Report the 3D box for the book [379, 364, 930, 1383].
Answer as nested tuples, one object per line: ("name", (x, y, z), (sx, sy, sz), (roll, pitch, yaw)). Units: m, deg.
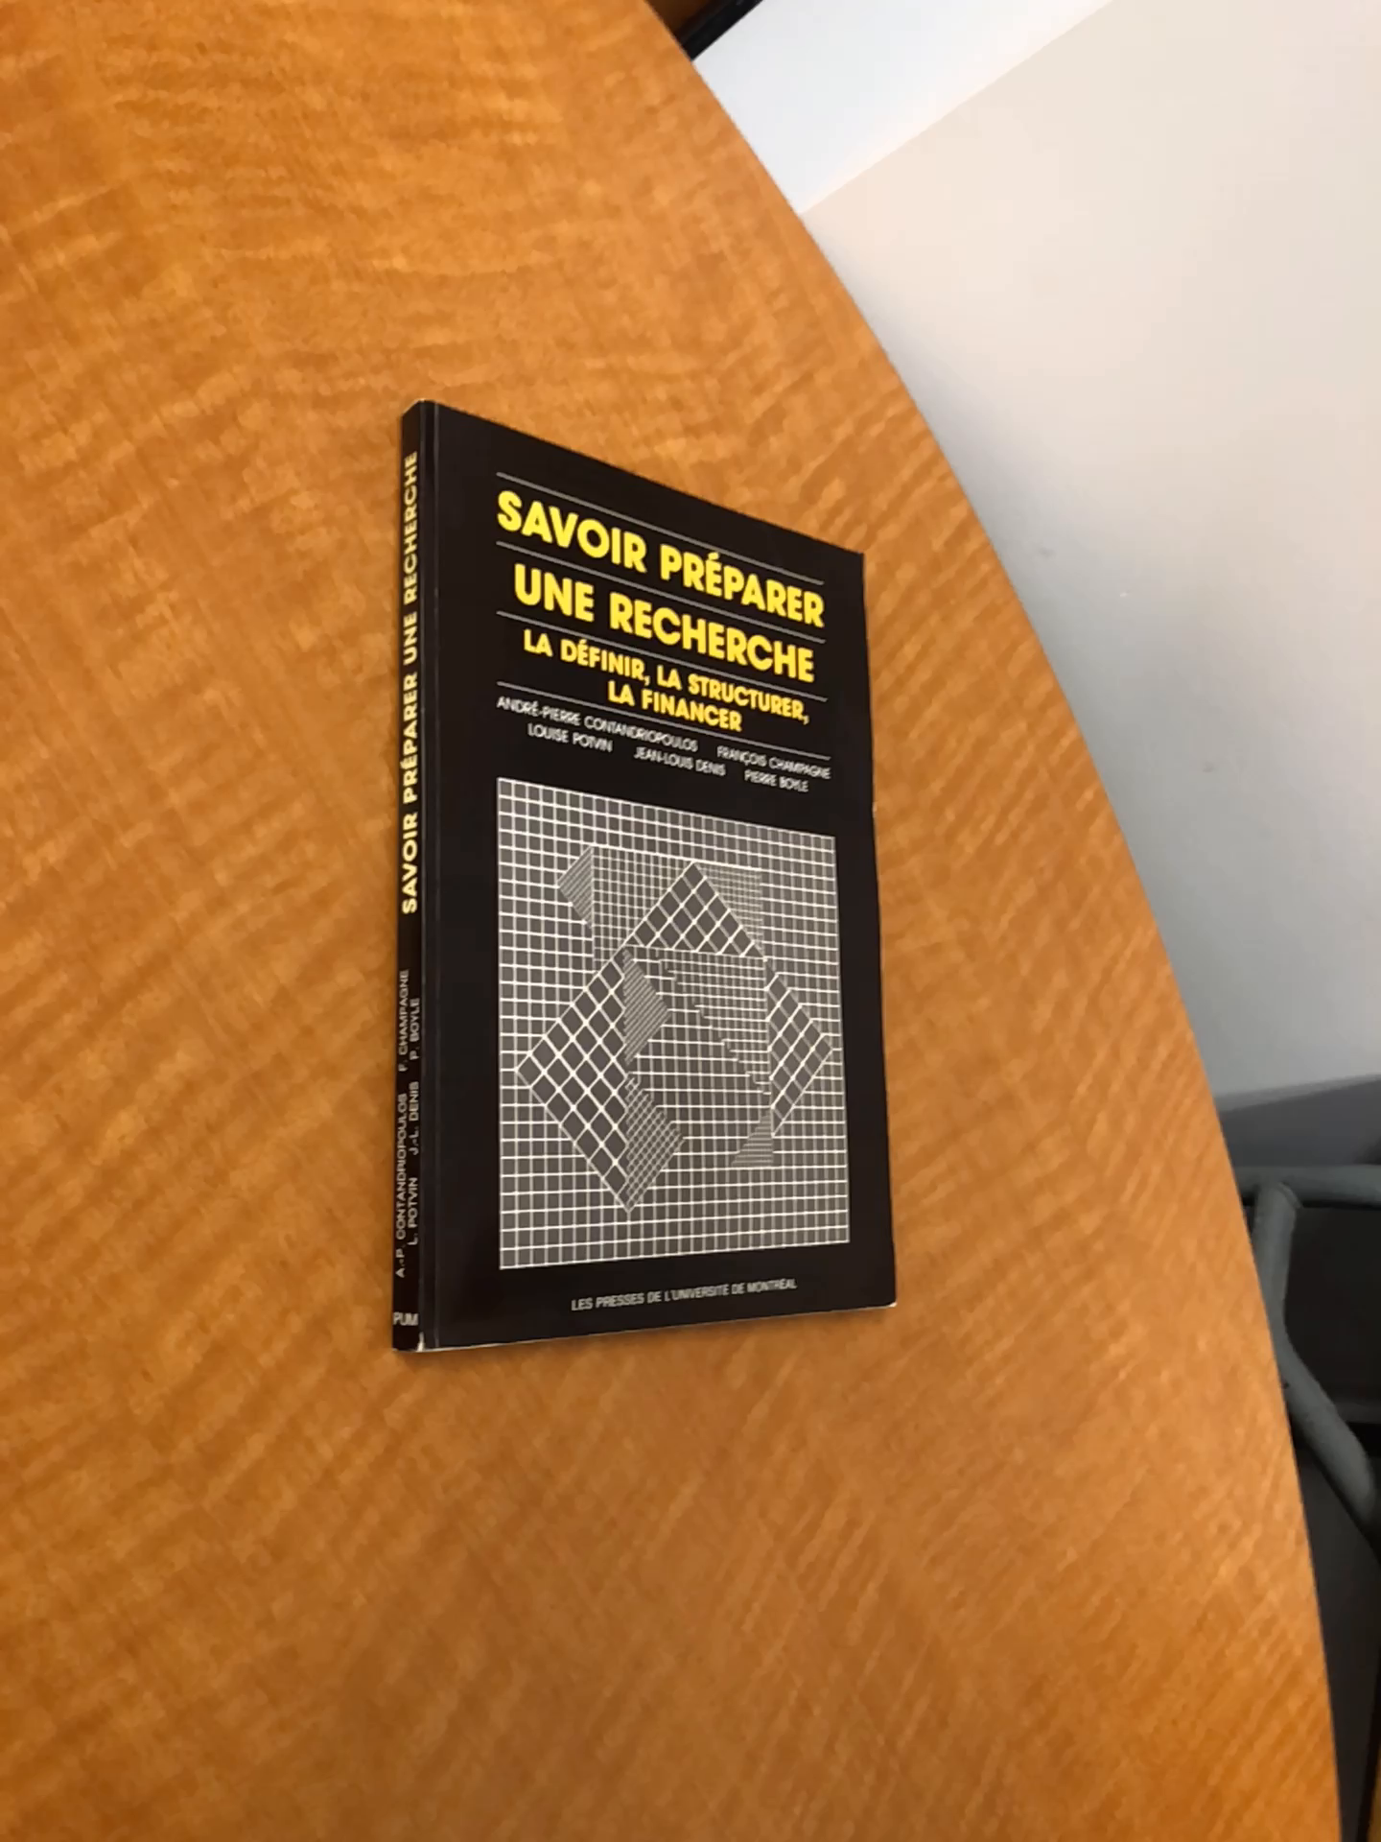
("book", (-0.006, -0.009, 0.415), (0.161, 0.030, 0.240), (6, 77, -42))
